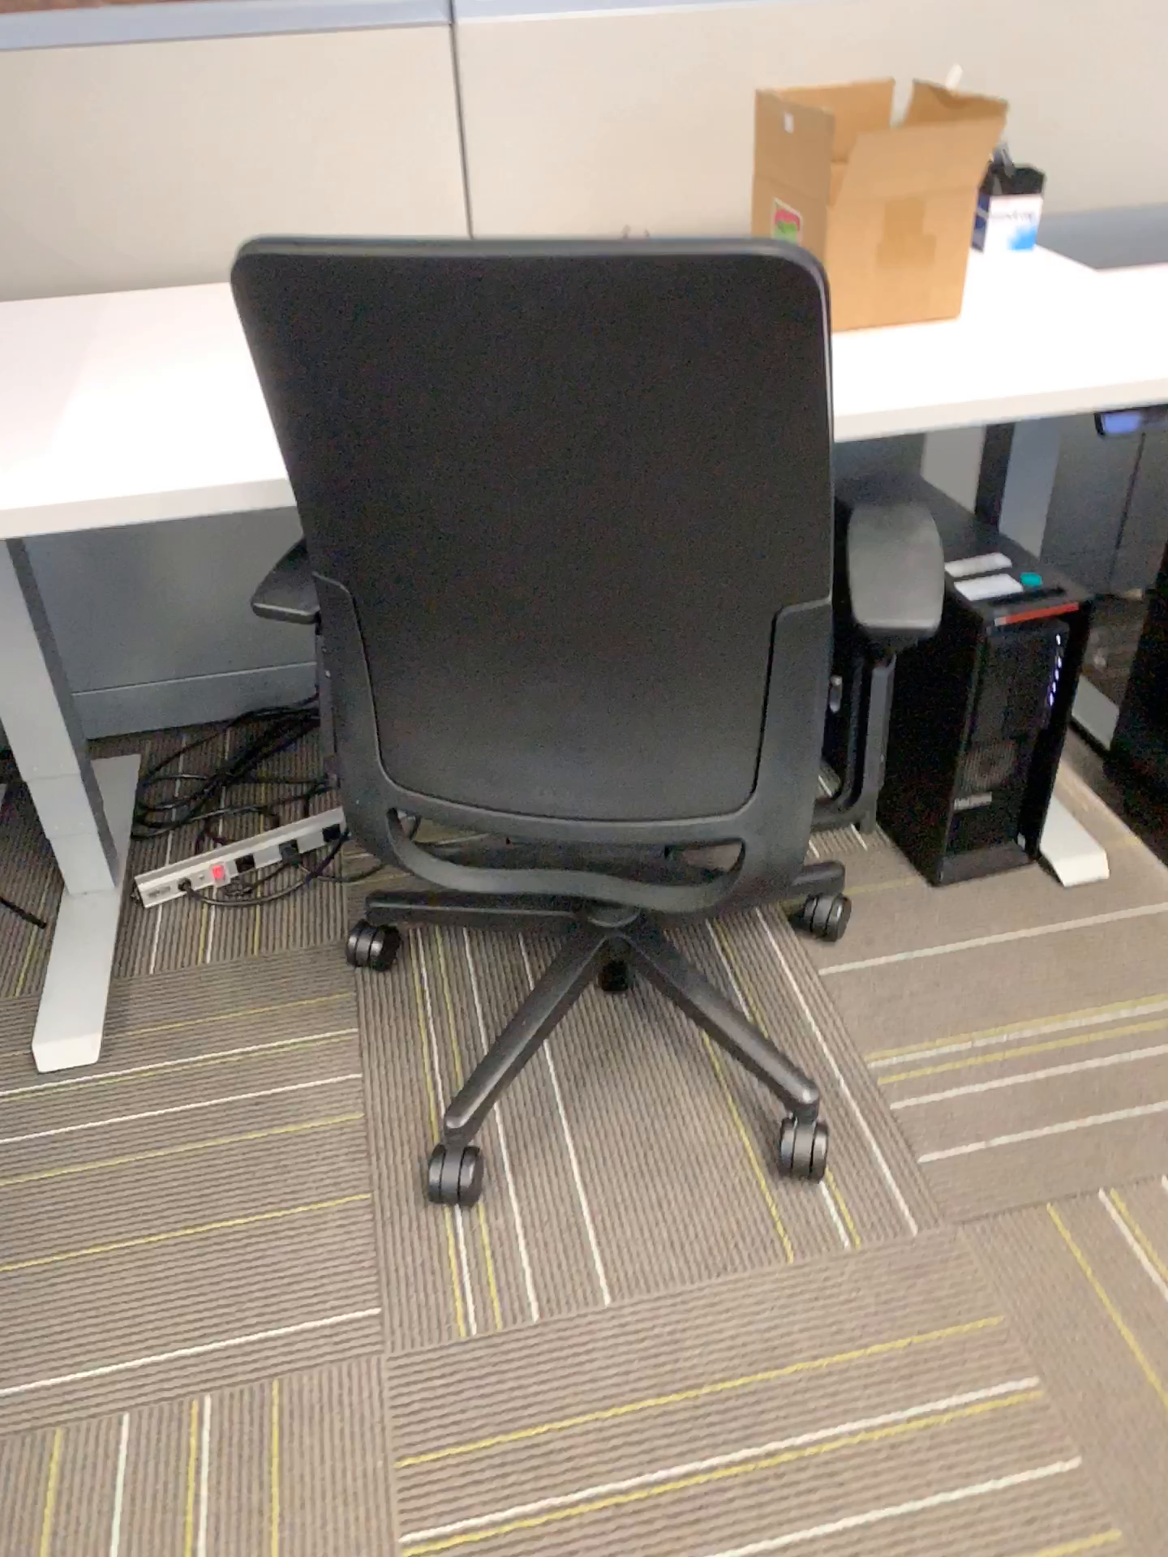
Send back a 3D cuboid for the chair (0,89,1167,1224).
[{"bbox_3d":[0.015,-0.143,1.267,0.700,0.934,0.755,-1,35,2],"label":"chair"}]
